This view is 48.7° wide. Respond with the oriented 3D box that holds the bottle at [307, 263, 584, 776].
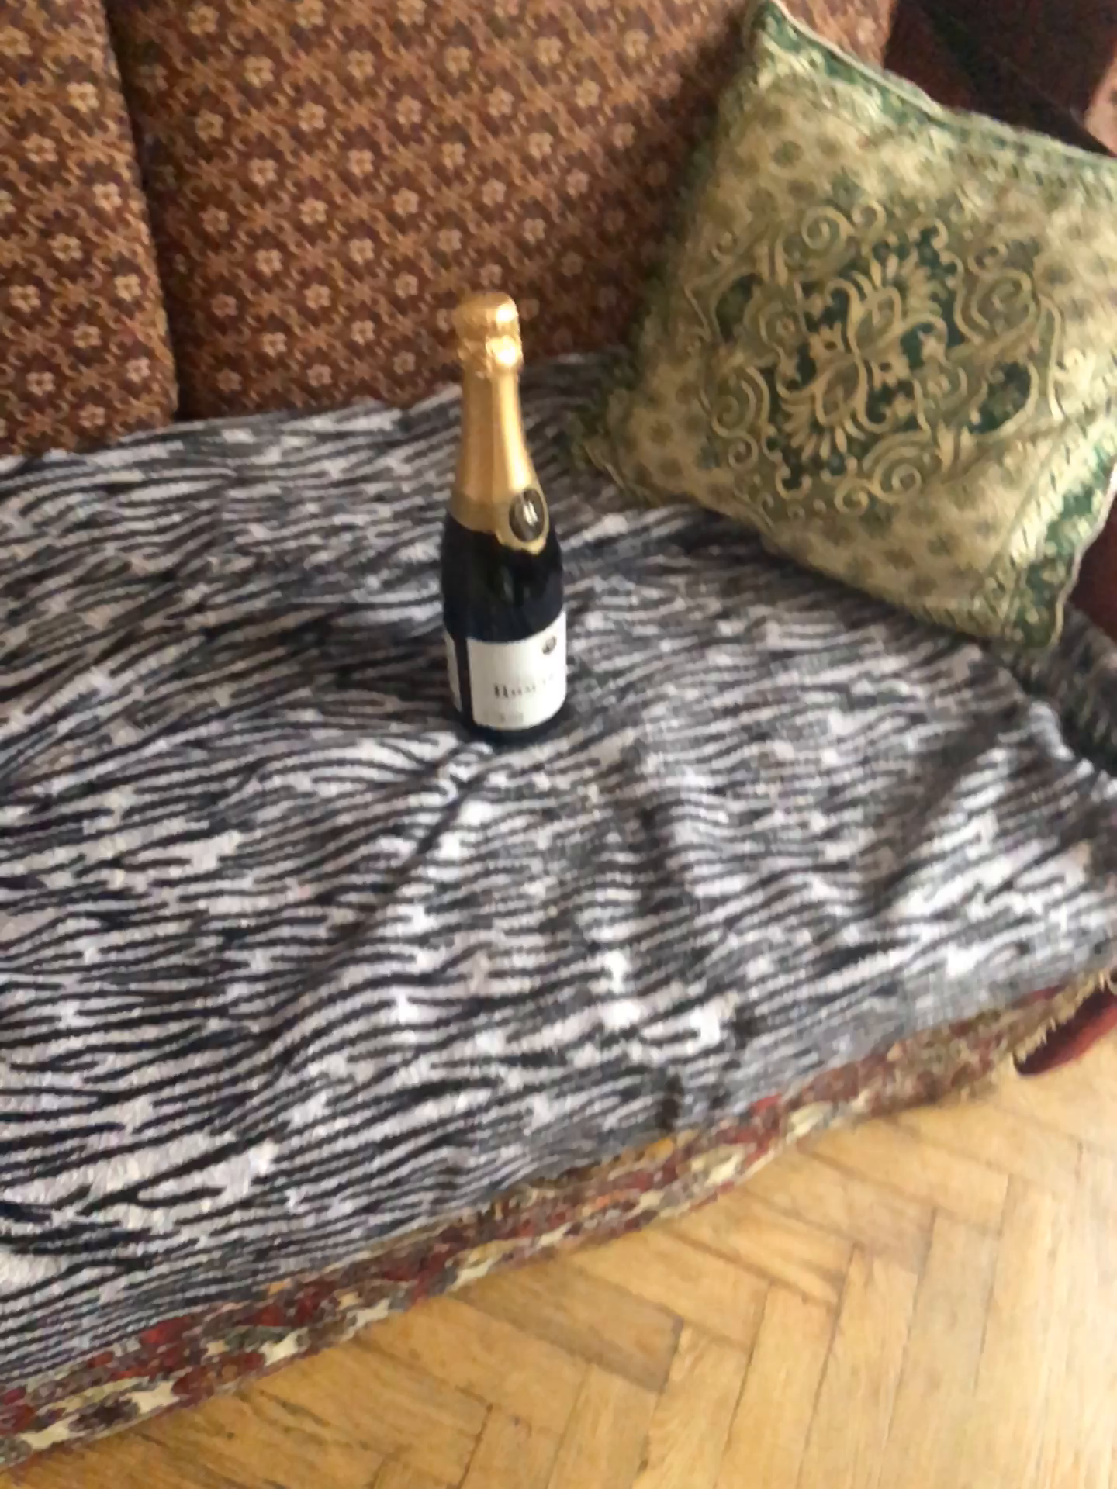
[{"bbox_3d":[-0.057,-0.123,0.745,0.100,0.278,0.100,-1,50,1],"label":"bottle"}]
